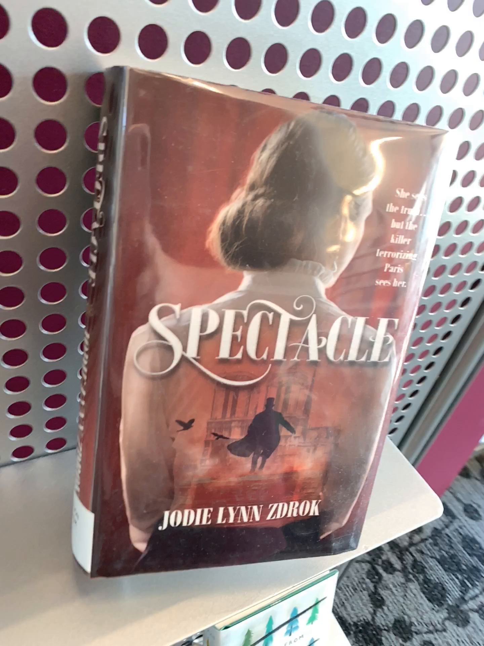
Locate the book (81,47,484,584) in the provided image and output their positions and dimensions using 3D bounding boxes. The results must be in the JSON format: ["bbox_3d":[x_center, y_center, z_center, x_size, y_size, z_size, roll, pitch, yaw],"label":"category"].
[{"bbox_3d":[0.009,0.007,0.235,0.153,0.212,0.059,2,19,-16],"label":"book"}]
